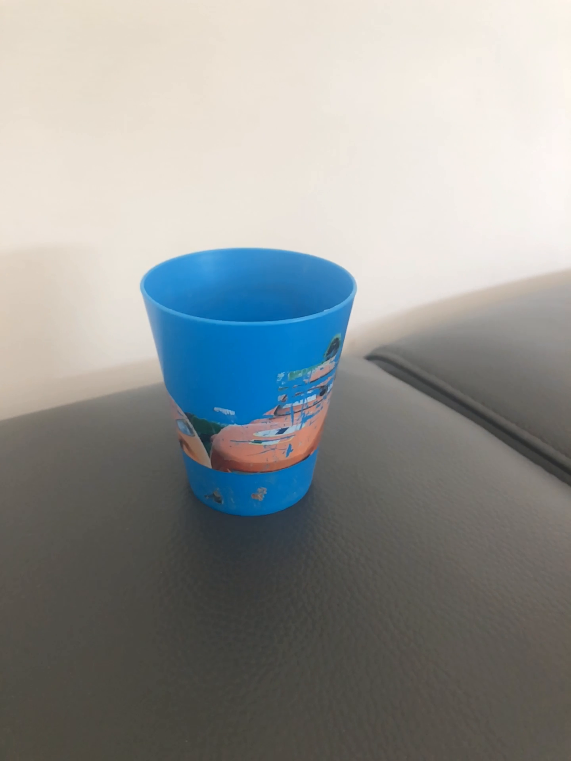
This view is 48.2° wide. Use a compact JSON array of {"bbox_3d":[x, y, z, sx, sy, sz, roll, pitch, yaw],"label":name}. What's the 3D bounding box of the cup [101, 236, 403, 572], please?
[{"bbox_3d":[-0.017,0.002,0.254,0.080,0.089,0.080,3,29,-2],"label":"cup"}]
